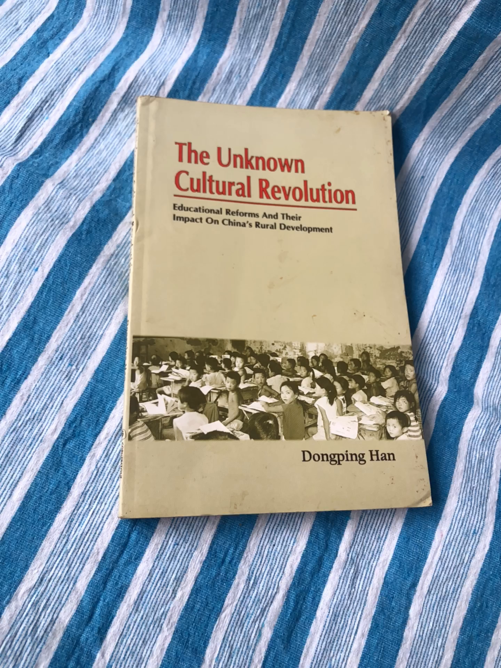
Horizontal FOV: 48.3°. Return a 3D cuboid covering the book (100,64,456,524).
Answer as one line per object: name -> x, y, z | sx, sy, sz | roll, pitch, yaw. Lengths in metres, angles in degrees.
book -> 0.010, -0.032, 0.269 | 0.140, 0.020, 0.230 | 0, 69, -4
